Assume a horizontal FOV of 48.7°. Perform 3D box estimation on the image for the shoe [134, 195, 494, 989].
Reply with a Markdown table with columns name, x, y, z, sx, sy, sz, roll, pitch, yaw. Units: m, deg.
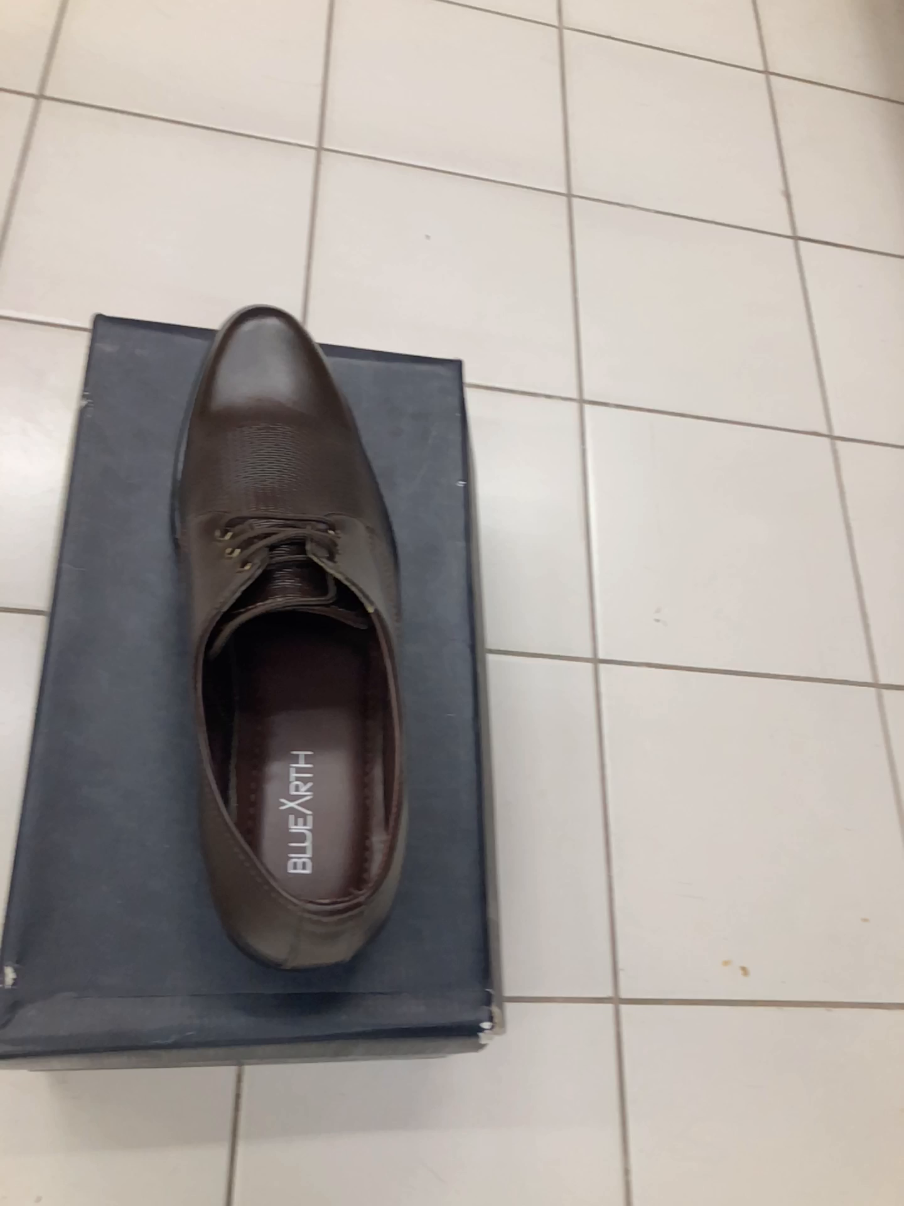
| name | x | y | z | sx | sy | sz | roll | pitch | yaw |
| --- | --- | --- | --- | --- | --- | --- | --- | --- | --- |
| shoe | -0.063 | -0.009 | 0.410 | 0.110 | 0.100 | 0.301 | 1 | 66 | -14 |
